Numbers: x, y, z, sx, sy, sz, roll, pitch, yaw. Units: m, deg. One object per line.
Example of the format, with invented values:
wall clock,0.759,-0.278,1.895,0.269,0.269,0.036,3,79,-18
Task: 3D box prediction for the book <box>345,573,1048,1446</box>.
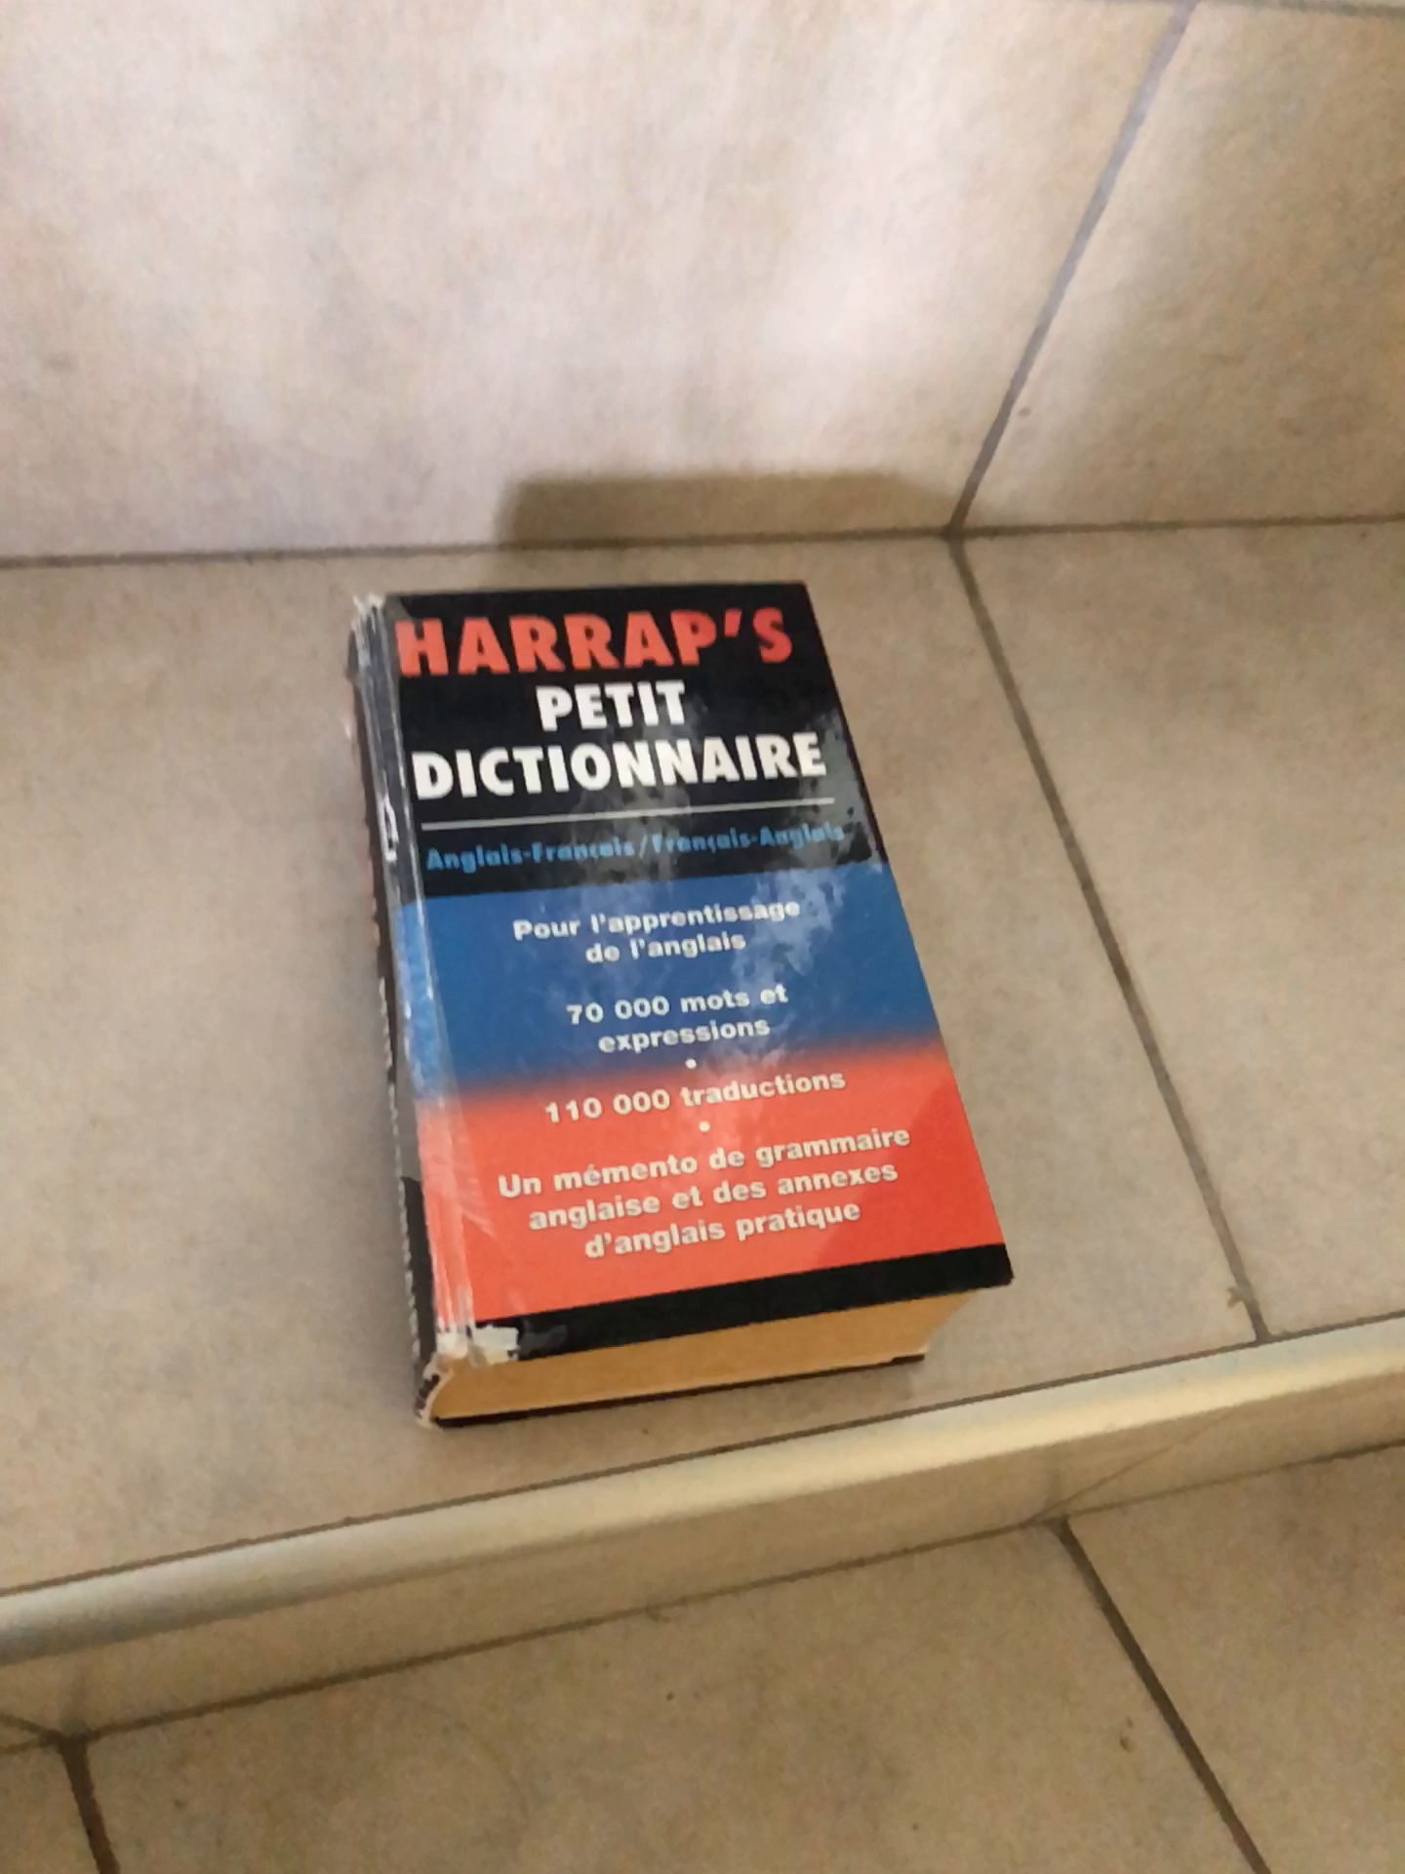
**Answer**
book,-0.012,0.005,0.351,0.118,0.050,0.186,-5,60,-14
